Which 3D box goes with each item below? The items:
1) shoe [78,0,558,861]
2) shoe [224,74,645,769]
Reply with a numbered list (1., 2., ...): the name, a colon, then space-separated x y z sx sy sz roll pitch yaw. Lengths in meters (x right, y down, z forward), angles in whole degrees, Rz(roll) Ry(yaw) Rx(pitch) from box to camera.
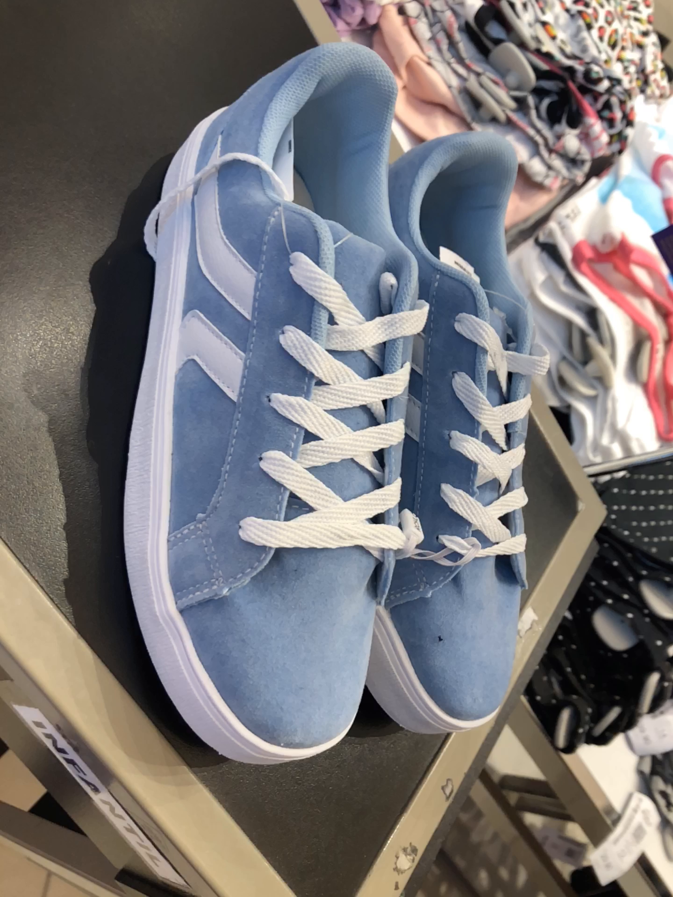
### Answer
1. shoe: -0.016 -0.010 0.265 0.101 0.119 0.240 8 73 -39
2. shoe: 0.033 -0.005 0.328 0.101 0.119 0.240 4 75 -40
